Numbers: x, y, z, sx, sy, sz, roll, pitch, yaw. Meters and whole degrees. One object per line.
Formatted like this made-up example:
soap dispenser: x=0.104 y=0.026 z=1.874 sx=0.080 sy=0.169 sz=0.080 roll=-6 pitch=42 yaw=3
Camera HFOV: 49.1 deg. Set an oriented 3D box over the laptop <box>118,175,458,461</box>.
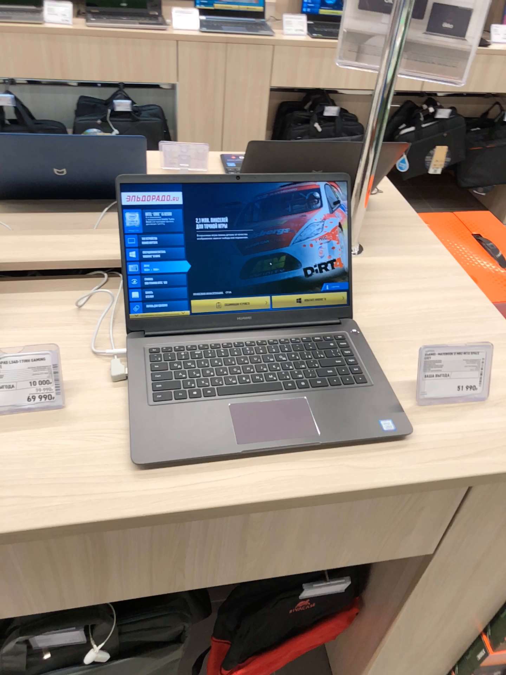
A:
laptop: x=0.006 y=-0.055 z=0.746 sx=0.344 sy=0.180 sz=0.359 roll=-4 pitch=41 yaw=-12
